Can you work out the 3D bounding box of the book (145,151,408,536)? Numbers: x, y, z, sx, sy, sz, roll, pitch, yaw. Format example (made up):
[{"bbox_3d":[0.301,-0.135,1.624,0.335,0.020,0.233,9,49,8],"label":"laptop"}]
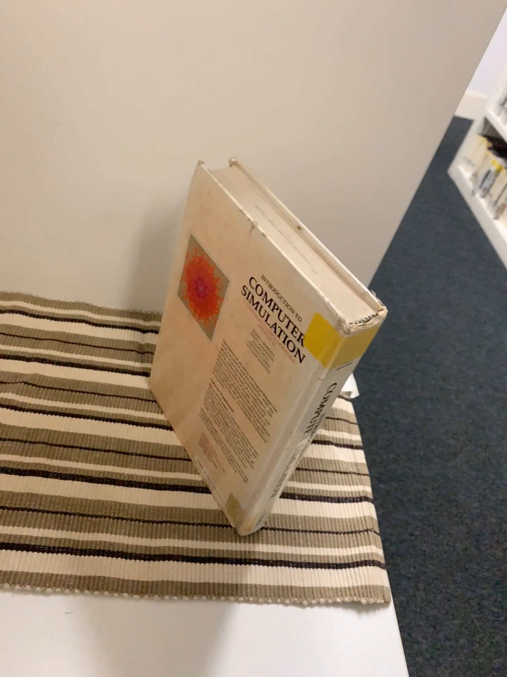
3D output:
[{"bbox_3d":[-0.010,0.013,0.396,0.040,0.238,0.171,-18,53,-35],"label":"book"}]
